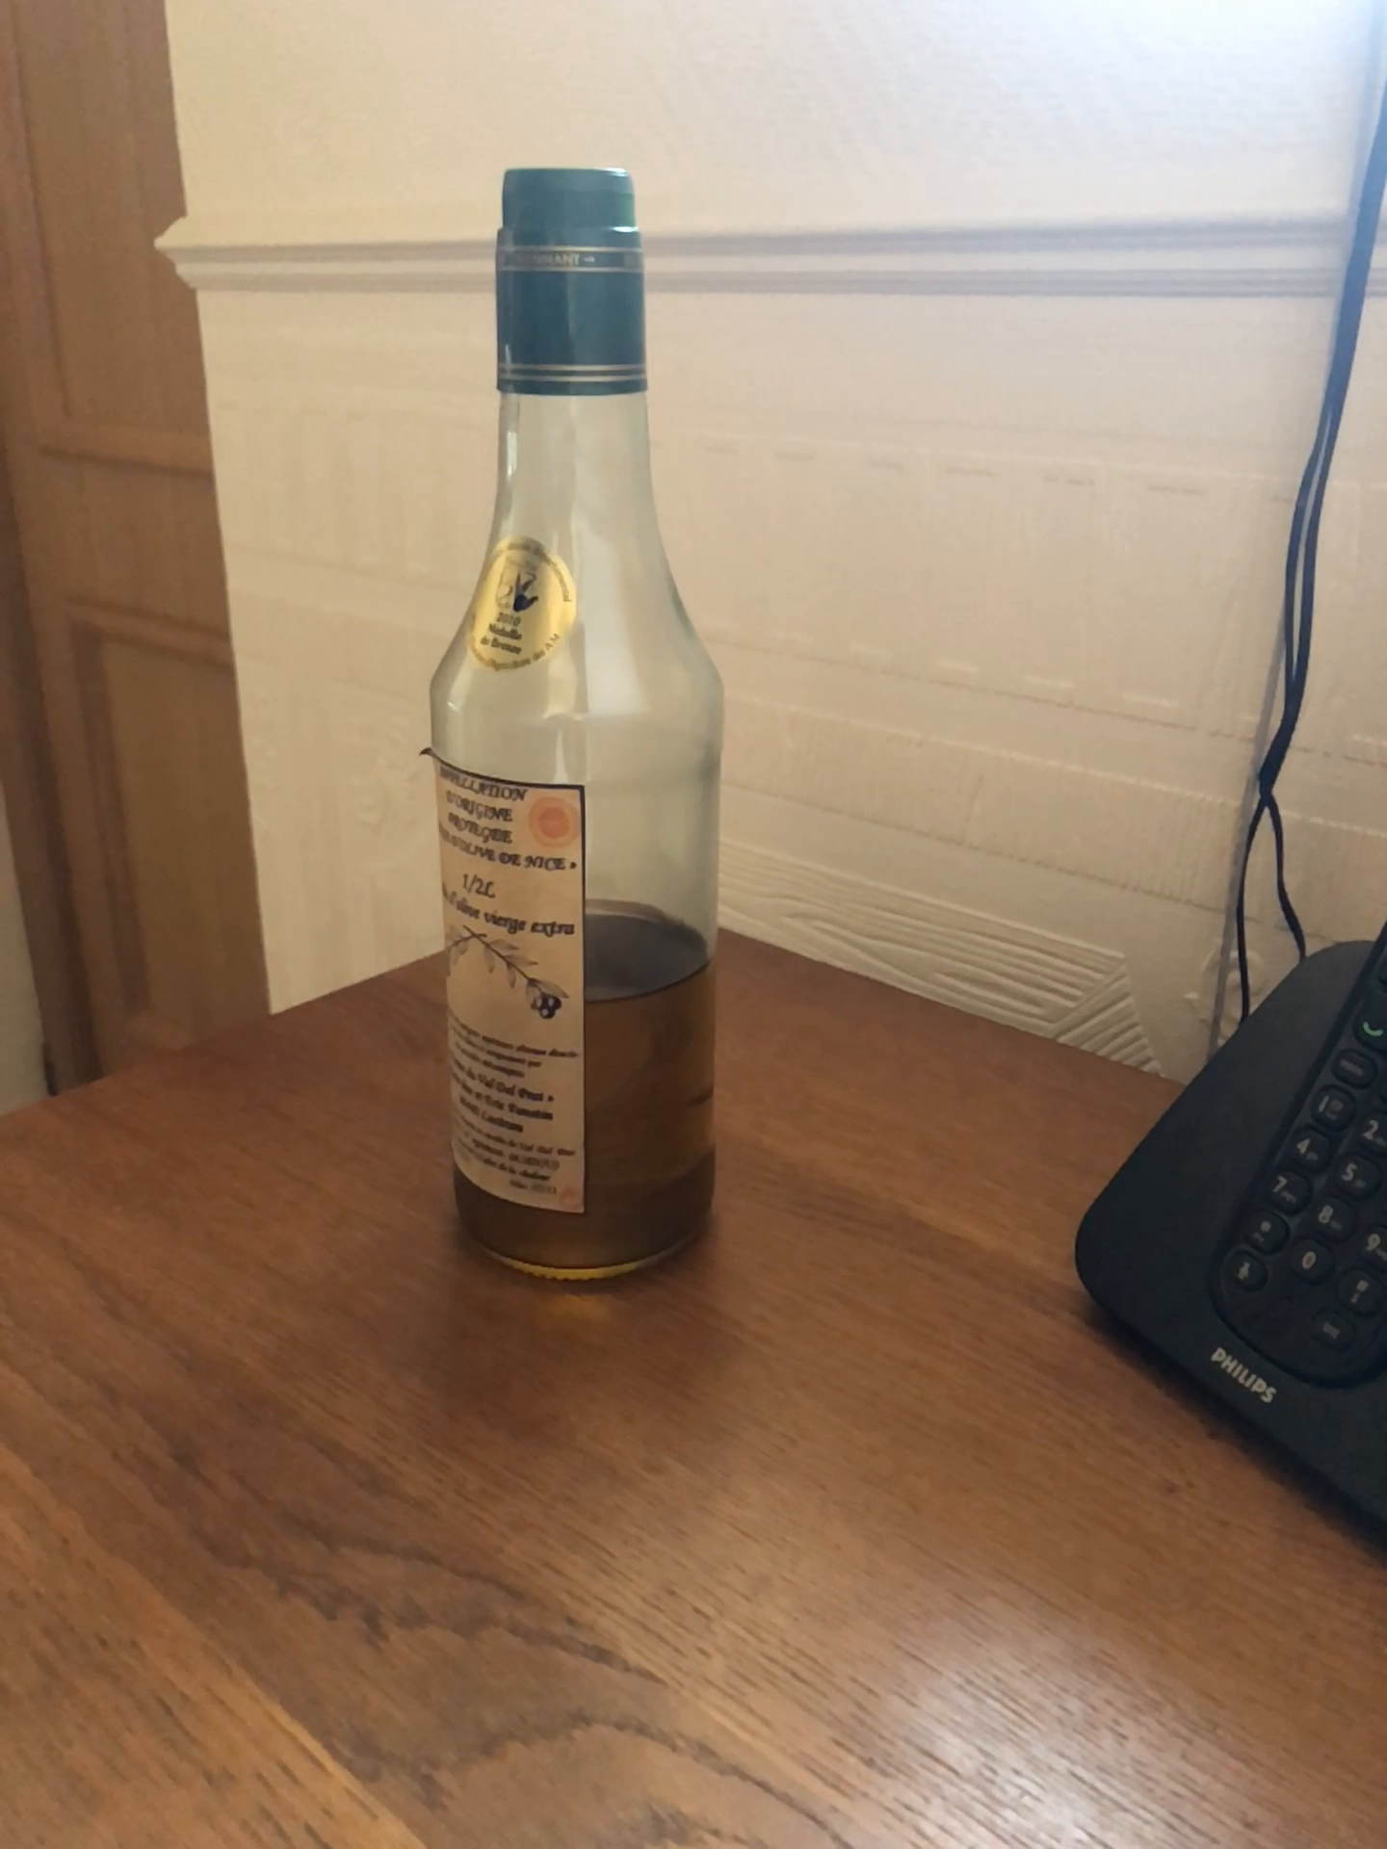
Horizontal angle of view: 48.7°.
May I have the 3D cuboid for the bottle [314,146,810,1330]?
[{"bbox_3d":[-0.028,-0.041,0.376,0.070,0.259,0.080,18,27,38],"label":"bottle"}]
